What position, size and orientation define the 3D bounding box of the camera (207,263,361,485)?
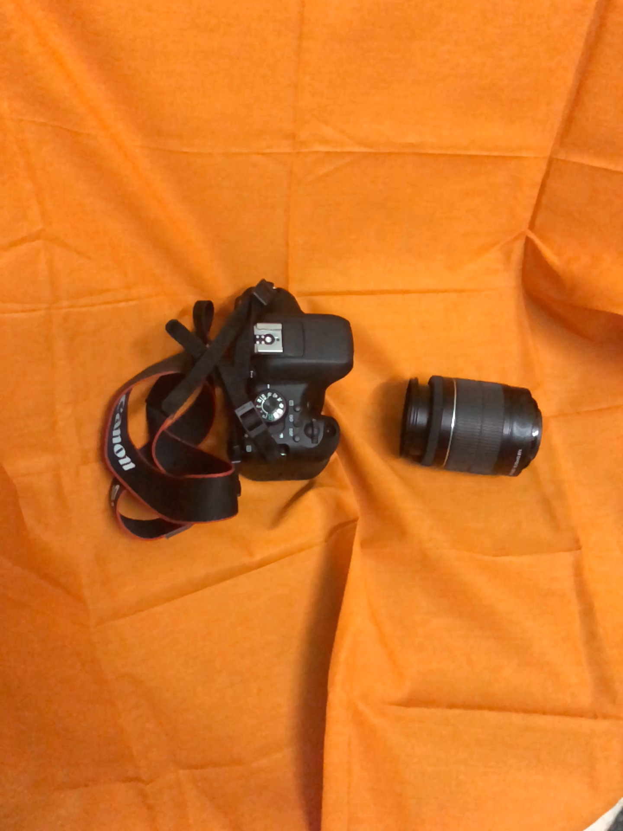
[{"bbox_3d":[-0.024,-0.028,0.474,0.092,0.071,0.134,-1,70,-9],"label":"camera"}]
